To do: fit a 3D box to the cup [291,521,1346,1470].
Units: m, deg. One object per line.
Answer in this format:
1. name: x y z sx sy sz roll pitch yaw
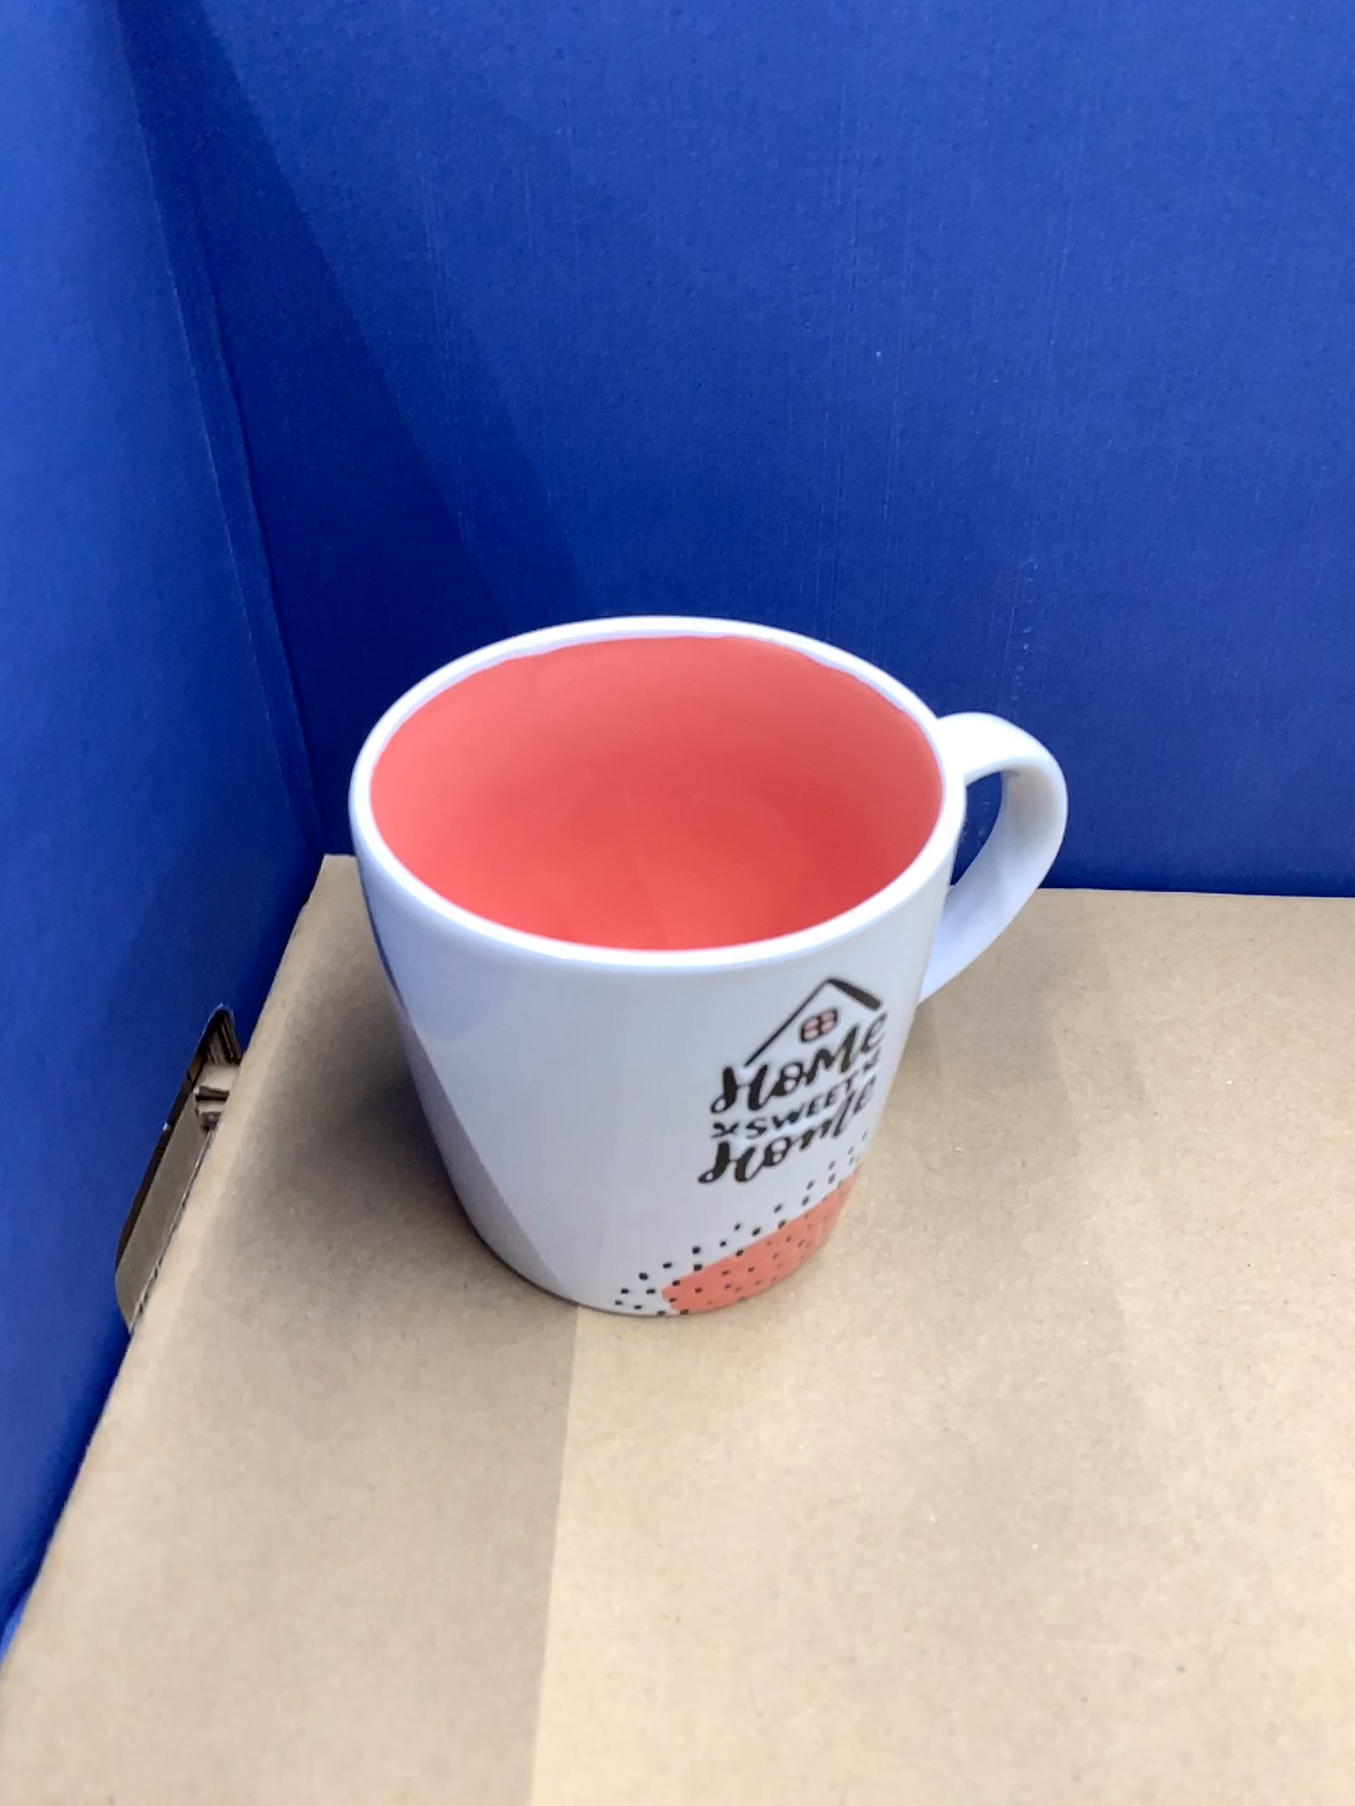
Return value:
1. cup: 0.019 0.003 0.210 0.115 0.070 0.083 -24 43 -27
